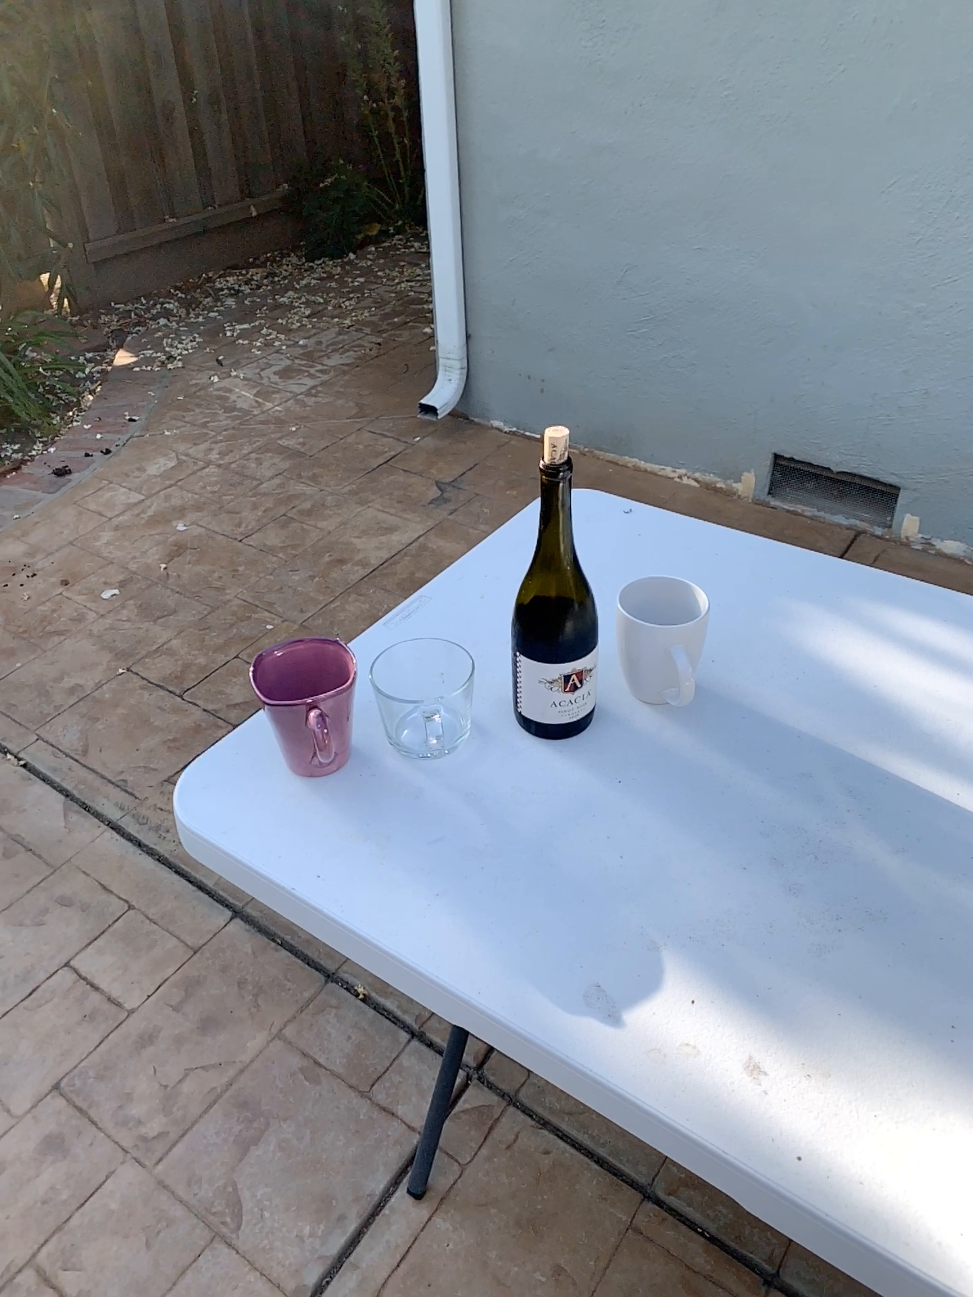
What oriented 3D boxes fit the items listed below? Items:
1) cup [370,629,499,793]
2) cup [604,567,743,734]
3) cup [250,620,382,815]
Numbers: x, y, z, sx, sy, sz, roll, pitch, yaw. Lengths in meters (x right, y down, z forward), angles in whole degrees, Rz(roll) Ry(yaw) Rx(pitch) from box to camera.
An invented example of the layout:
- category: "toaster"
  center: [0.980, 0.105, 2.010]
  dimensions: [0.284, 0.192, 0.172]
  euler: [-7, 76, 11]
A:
- category: "cup"
  center: [-0.052, 0.057, 0.957]
  dimensions: [0.100, 0.080, 0.131]
  euler: [-8, 37, -8]
- category: "cup"
  center: [0.178, 0.000, 0.971]
  dimensions: [0.090, 0.099, 0.121]
  euler: [-8, 37, -8]
- category: "cup"
  center: [-0.160, 0.062, 0.928]
  dimensions: [0.100, 0.109, 0.131]
  euler: [-8, 37, -8]
